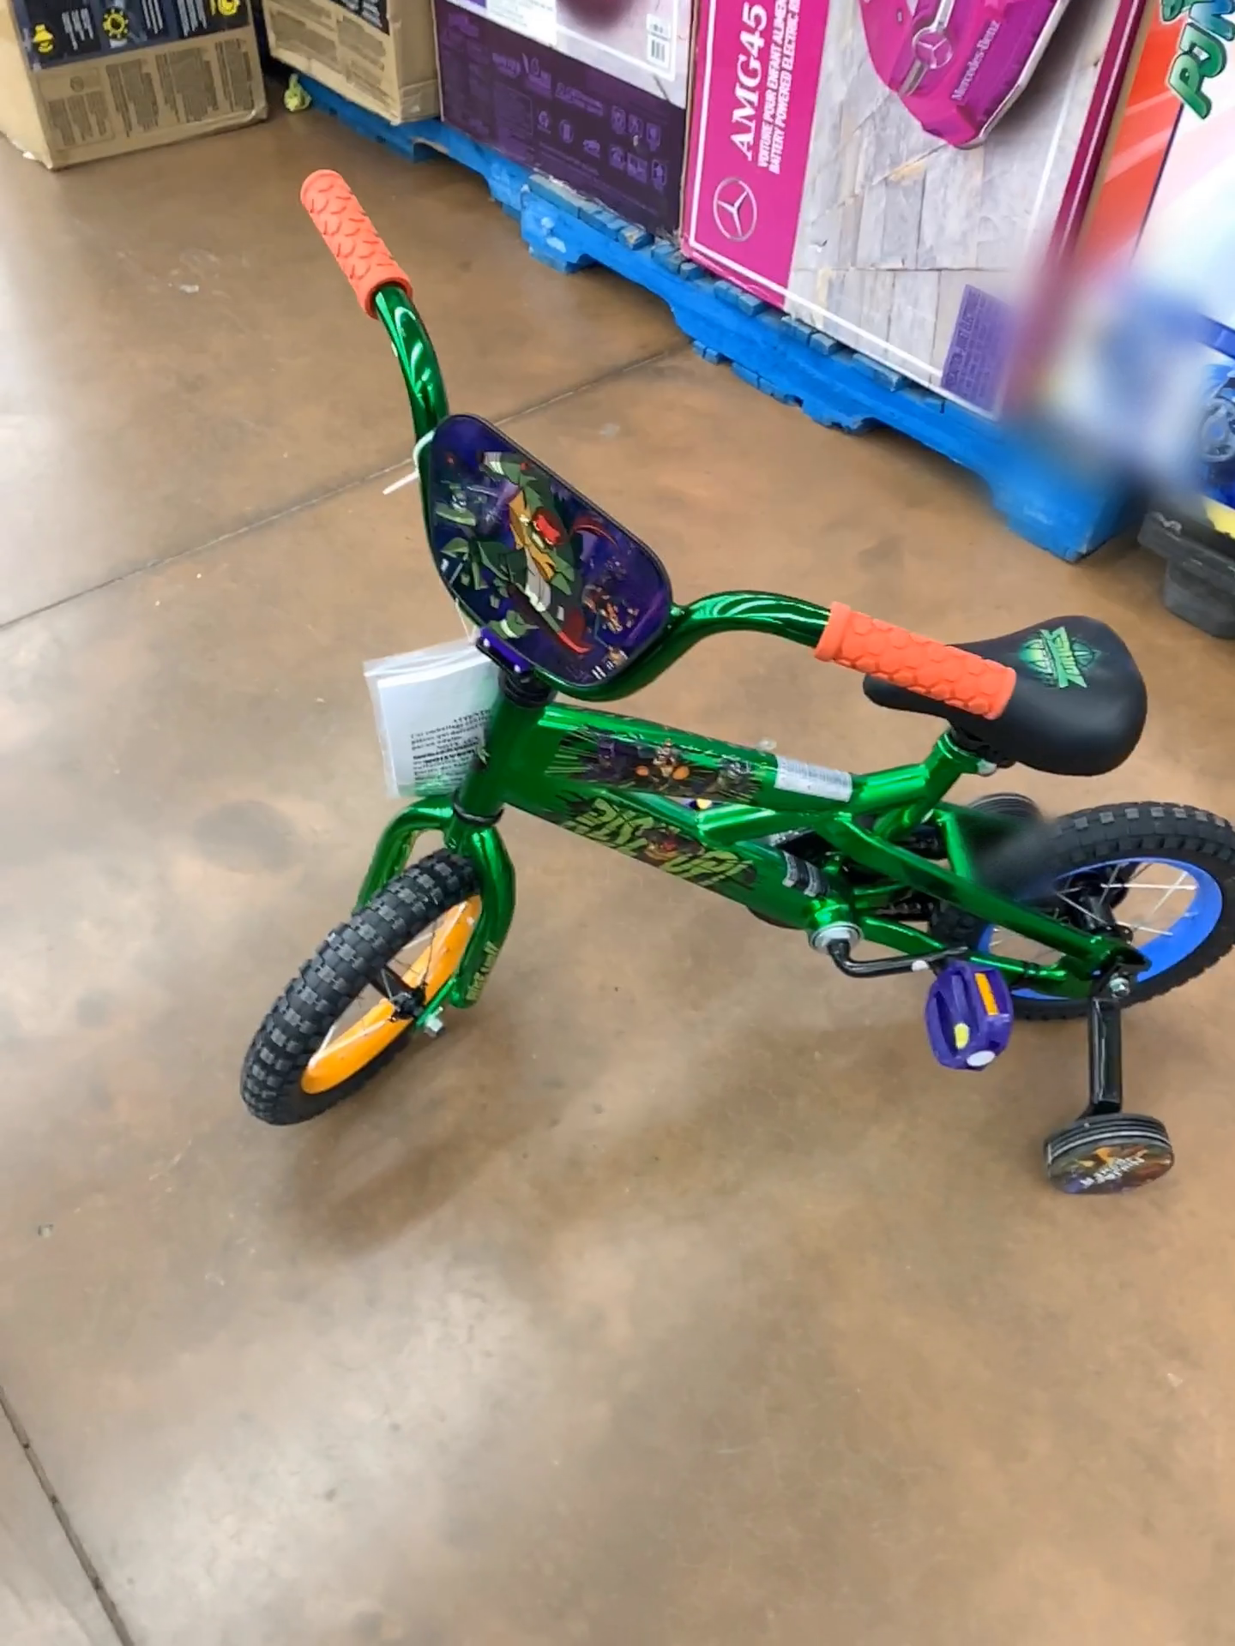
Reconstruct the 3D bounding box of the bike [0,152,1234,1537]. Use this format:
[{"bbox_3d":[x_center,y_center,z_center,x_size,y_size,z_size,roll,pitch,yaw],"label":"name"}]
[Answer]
[{"bbox_3d":[0.155,0.015,0.857,0.829,0.677,0.533,-5,49,-8],"label":"bike"}]
